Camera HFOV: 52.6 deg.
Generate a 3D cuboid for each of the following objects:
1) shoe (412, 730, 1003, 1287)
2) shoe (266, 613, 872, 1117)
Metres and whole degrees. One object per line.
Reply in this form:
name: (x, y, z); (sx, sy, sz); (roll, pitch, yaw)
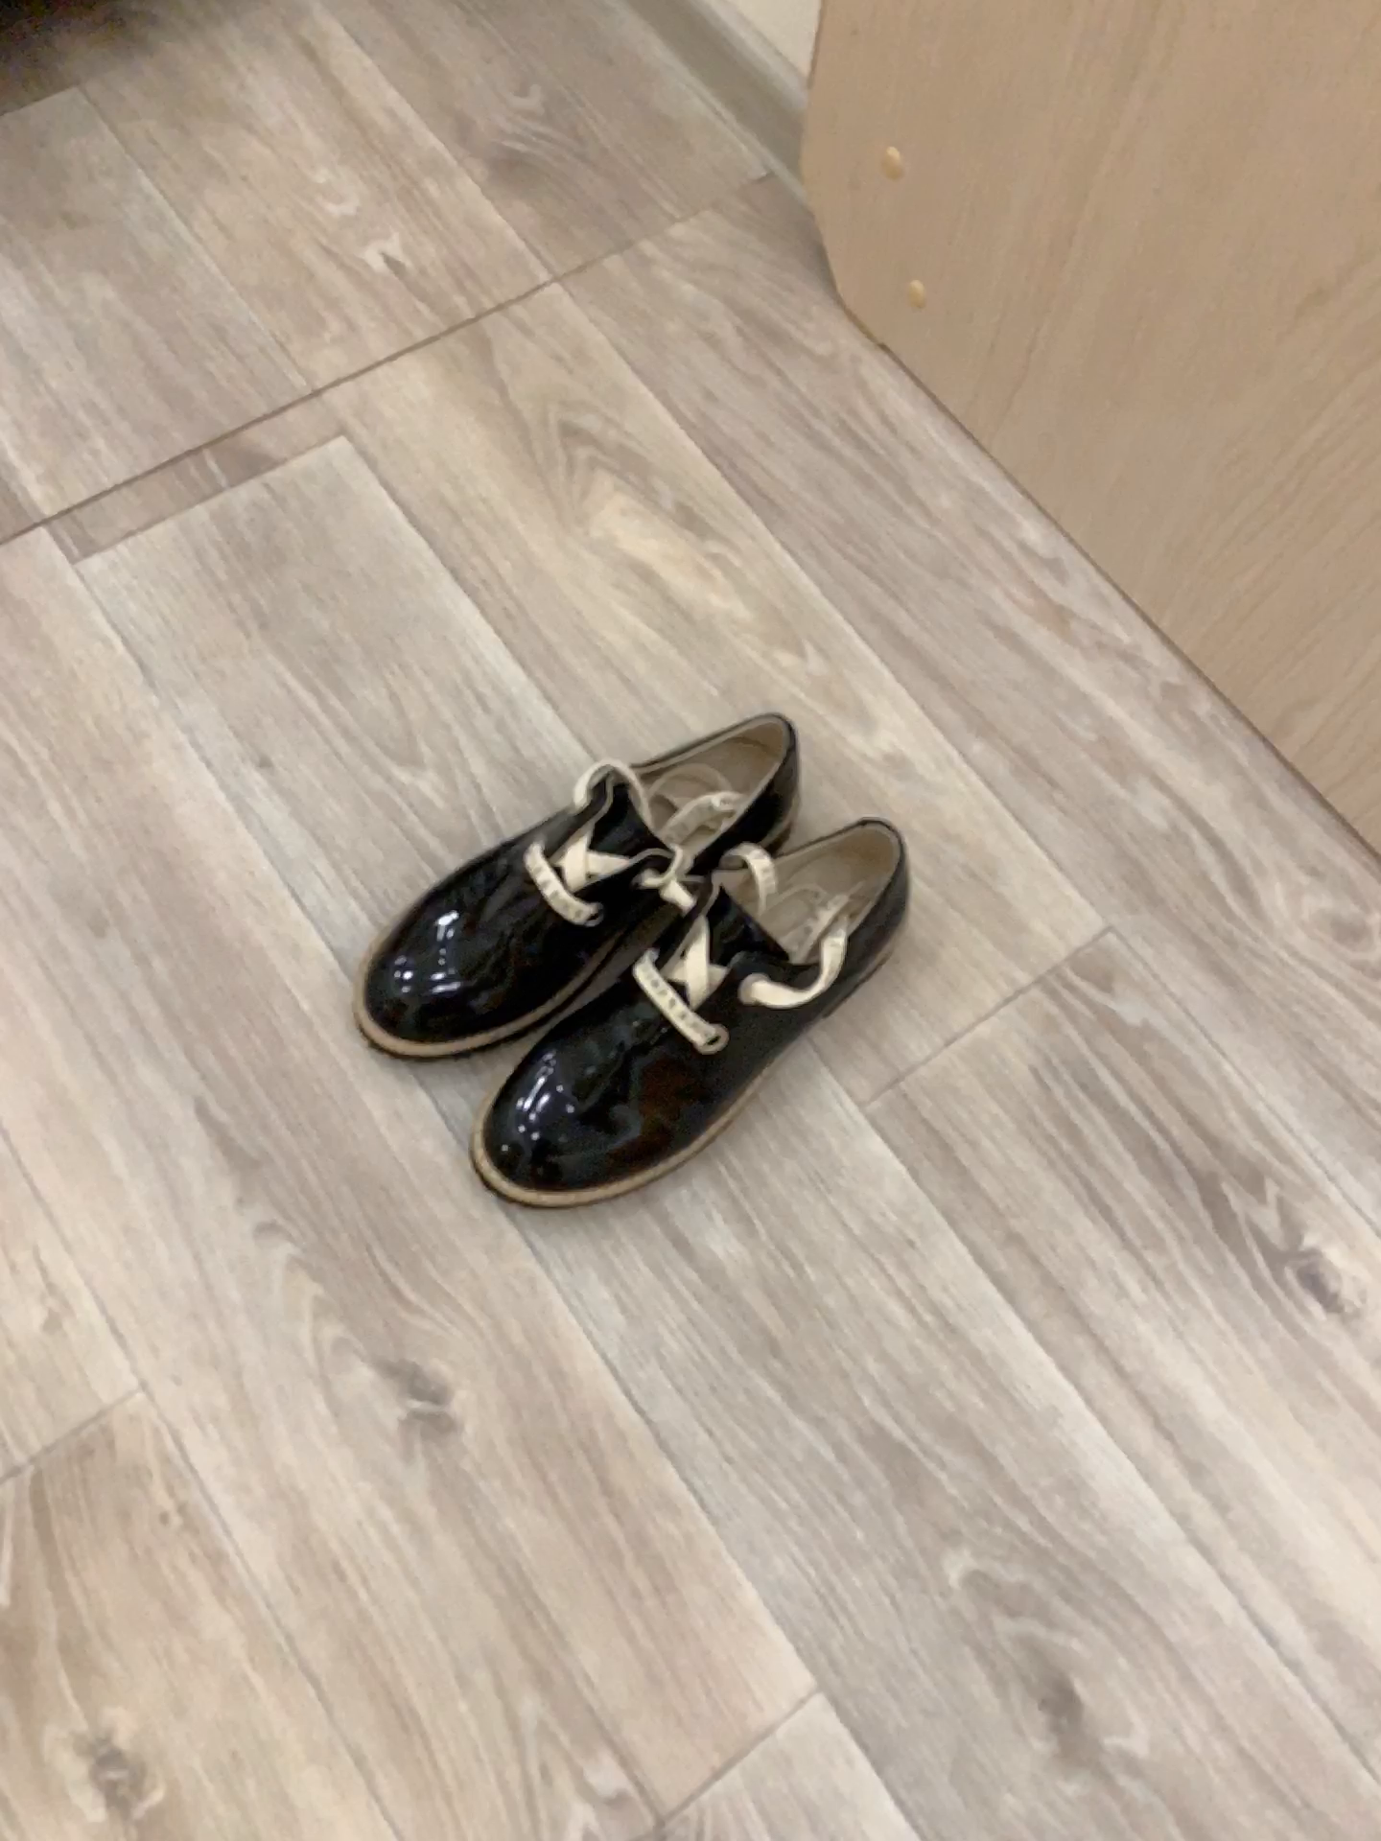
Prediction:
shoe: (0.010, 0.041, 0.677); (0.270, 0.100, 0.100); (-39, 76, -17)
shoe: (-0.055, -0.028, 0.696); (0.270, 0.100, 0.100); (-32, 74, -16)
